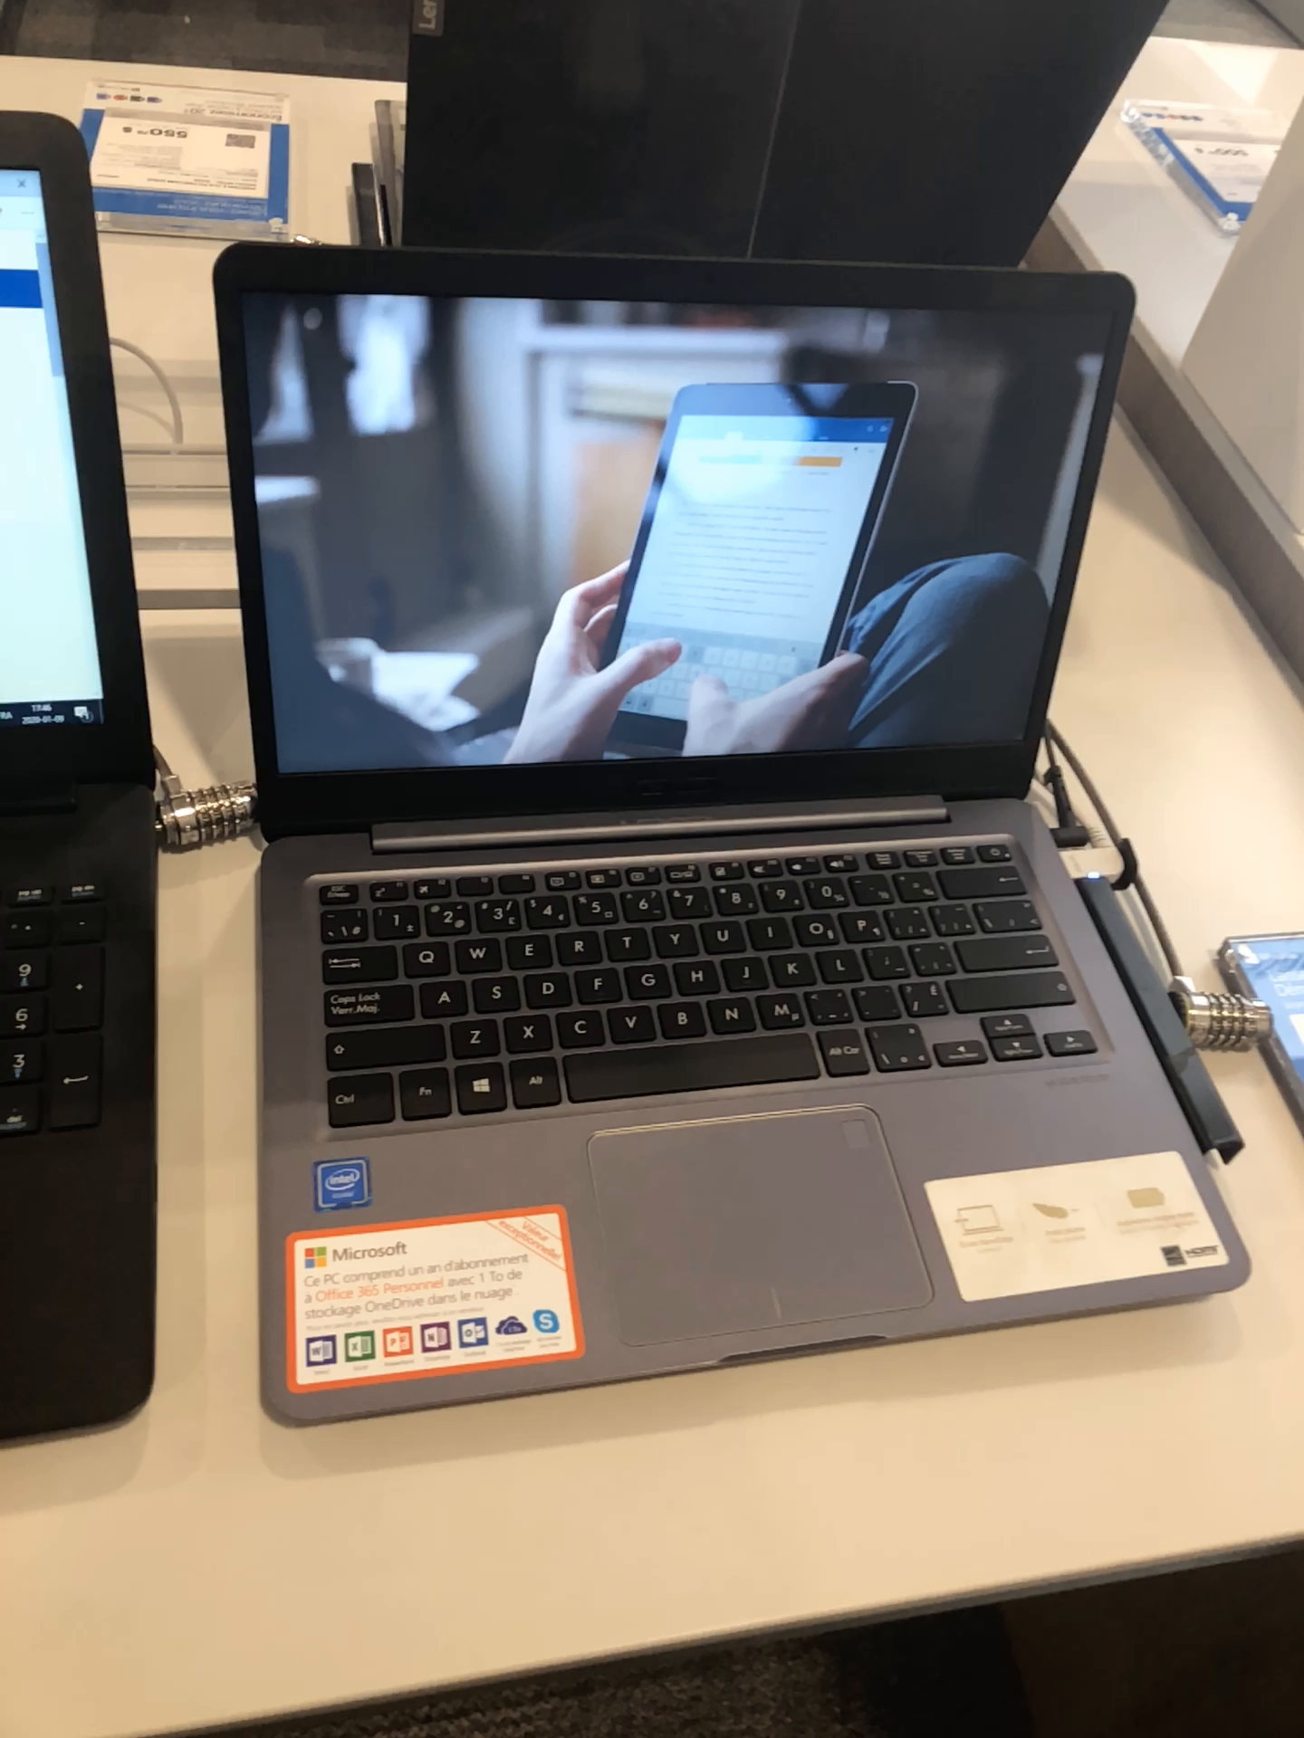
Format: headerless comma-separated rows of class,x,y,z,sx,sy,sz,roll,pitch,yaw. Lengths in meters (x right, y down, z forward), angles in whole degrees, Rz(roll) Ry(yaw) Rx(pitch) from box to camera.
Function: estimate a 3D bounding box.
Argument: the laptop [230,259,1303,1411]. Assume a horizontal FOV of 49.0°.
laptop,0.036,-0.028,0.470,0.316,0.196,0.292,-4,51,-13
